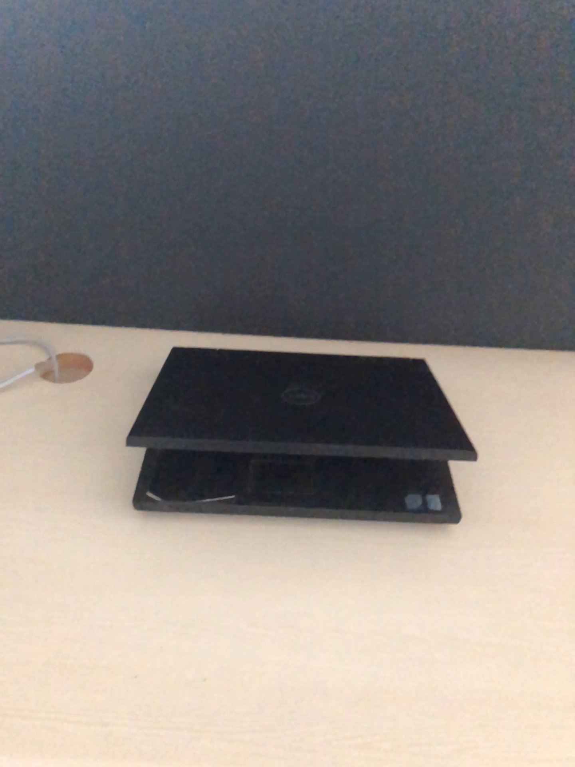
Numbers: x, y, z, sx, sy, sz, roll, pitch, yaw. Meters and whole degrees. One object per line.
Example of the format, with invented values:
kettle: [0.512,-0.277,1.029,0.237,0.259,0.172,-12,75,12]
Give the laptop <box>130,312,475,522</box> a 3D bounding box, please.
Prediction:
laptop: [0.016,0.024,0.664,0.302,0.064,0.231,3,39,-1]
